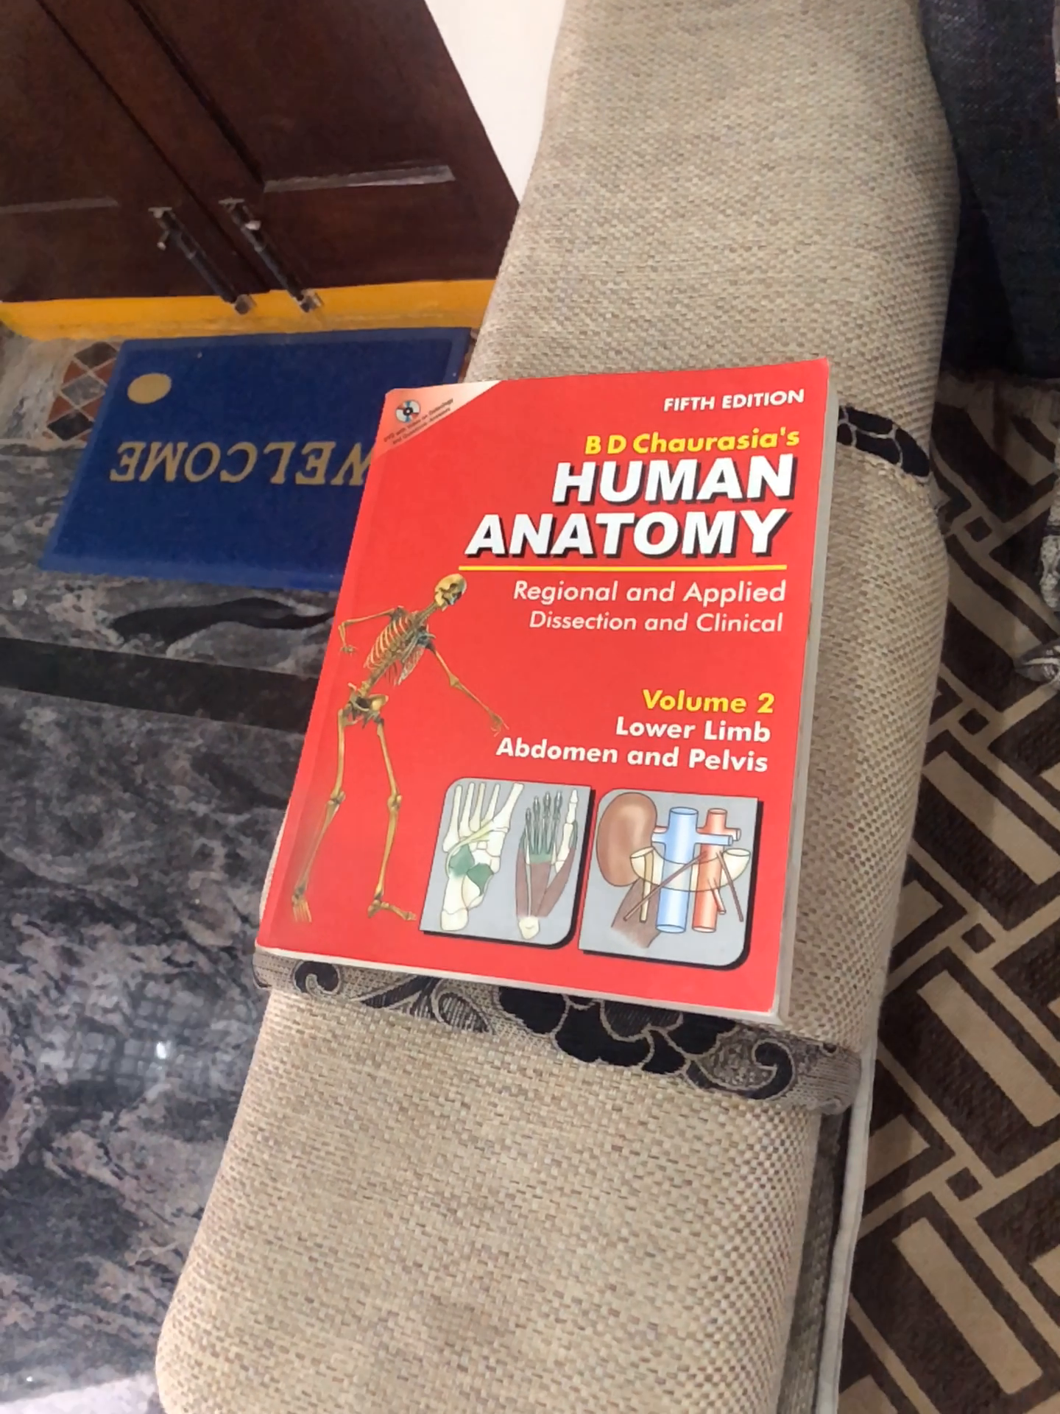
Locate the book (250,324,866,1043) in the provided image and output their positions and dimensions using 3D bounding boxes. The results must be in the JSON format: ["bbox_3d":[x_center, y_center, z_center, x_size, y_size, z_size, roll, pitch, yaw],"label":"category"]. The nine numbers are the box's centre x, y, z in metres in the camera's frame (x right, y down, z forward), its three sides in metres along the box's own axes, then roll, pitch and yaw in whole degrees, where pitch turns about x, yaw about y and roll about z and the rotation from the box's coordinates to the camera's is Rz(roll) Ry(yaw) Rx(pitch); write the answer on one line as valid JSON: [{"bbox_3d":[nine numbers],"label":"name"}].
[{"bbox_3d":[0.018,-0.022,0.502,0.220,0.040,0.290,2,69,22],"label":"book"}]
